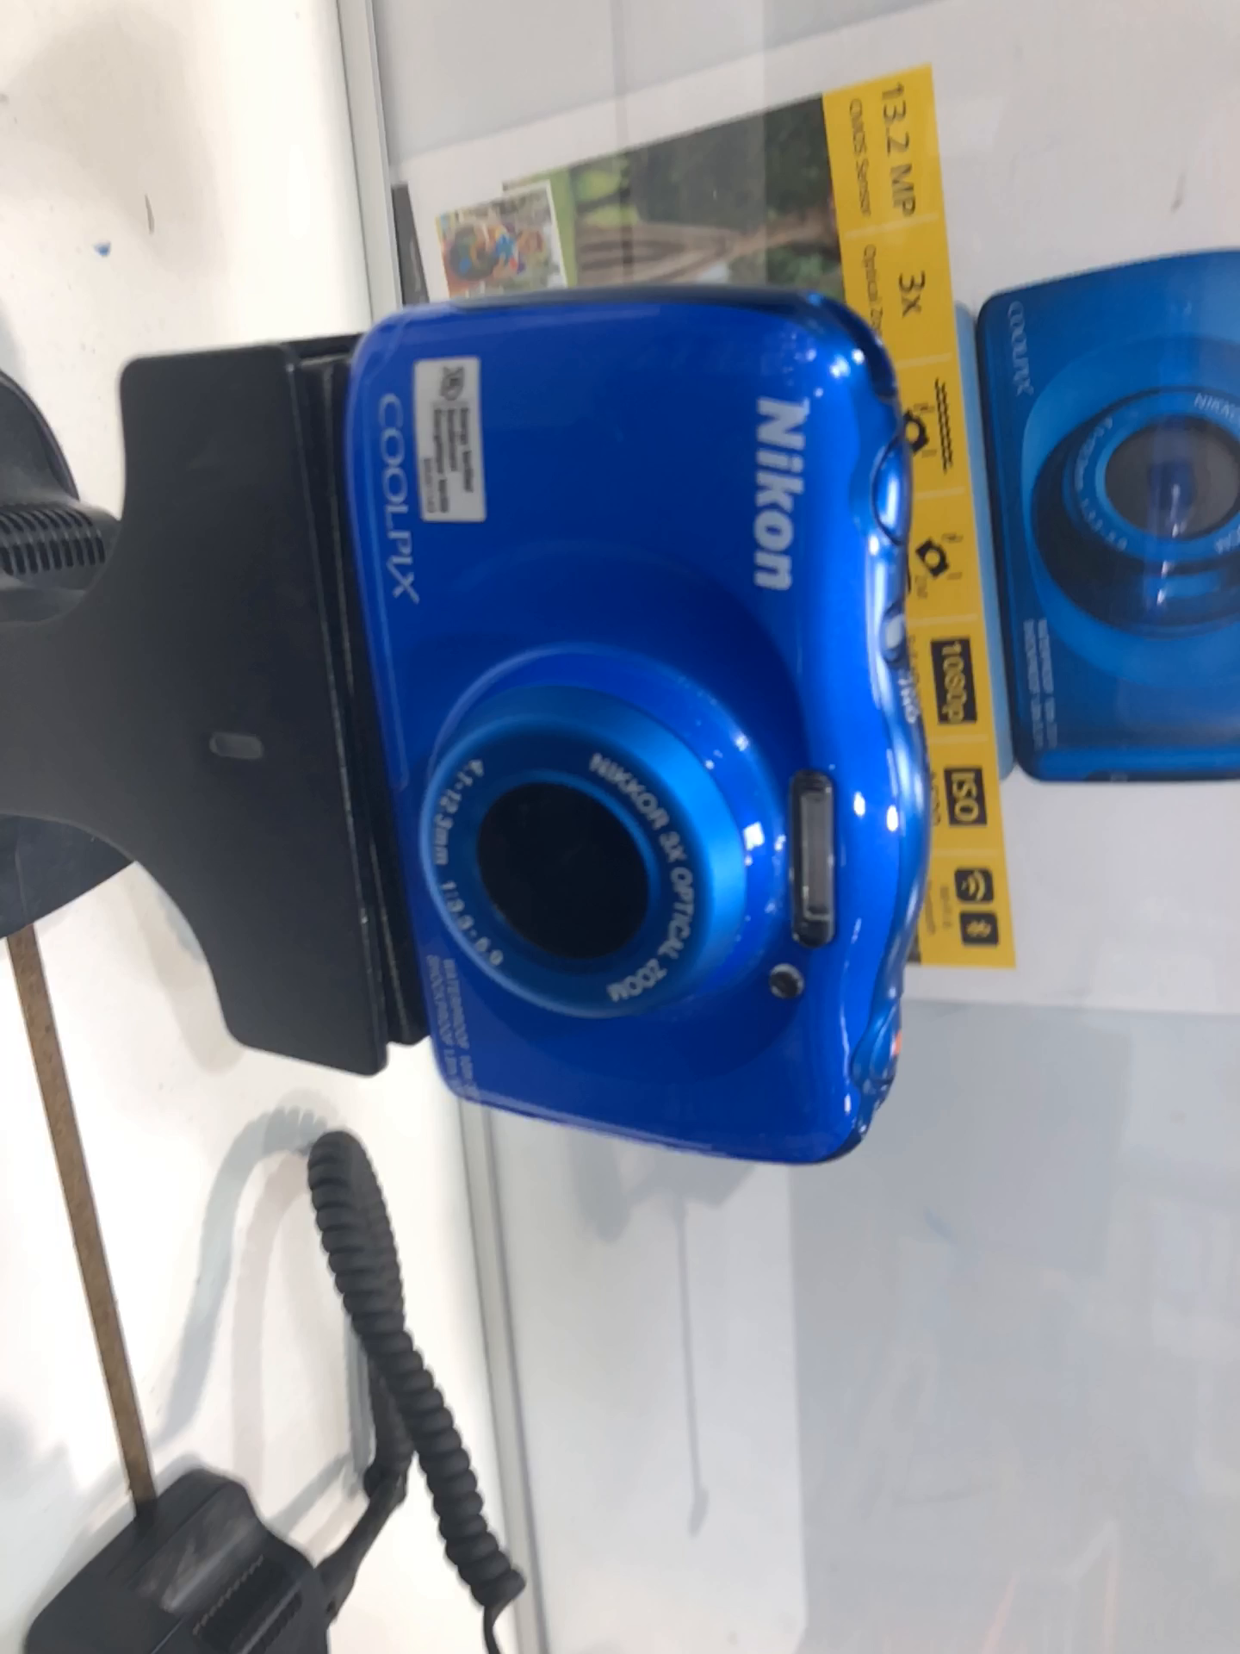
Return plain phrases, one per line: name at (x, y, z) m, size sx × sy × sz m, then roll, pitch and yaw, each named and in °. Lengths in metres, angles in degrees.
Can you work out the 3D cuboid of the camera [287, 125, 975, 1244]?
camera at (0.007, -0.019, 0.192) m, size 0.050 × 0.070 × 0.130 m, roll -38°, pitch 129°, yaw -57°
